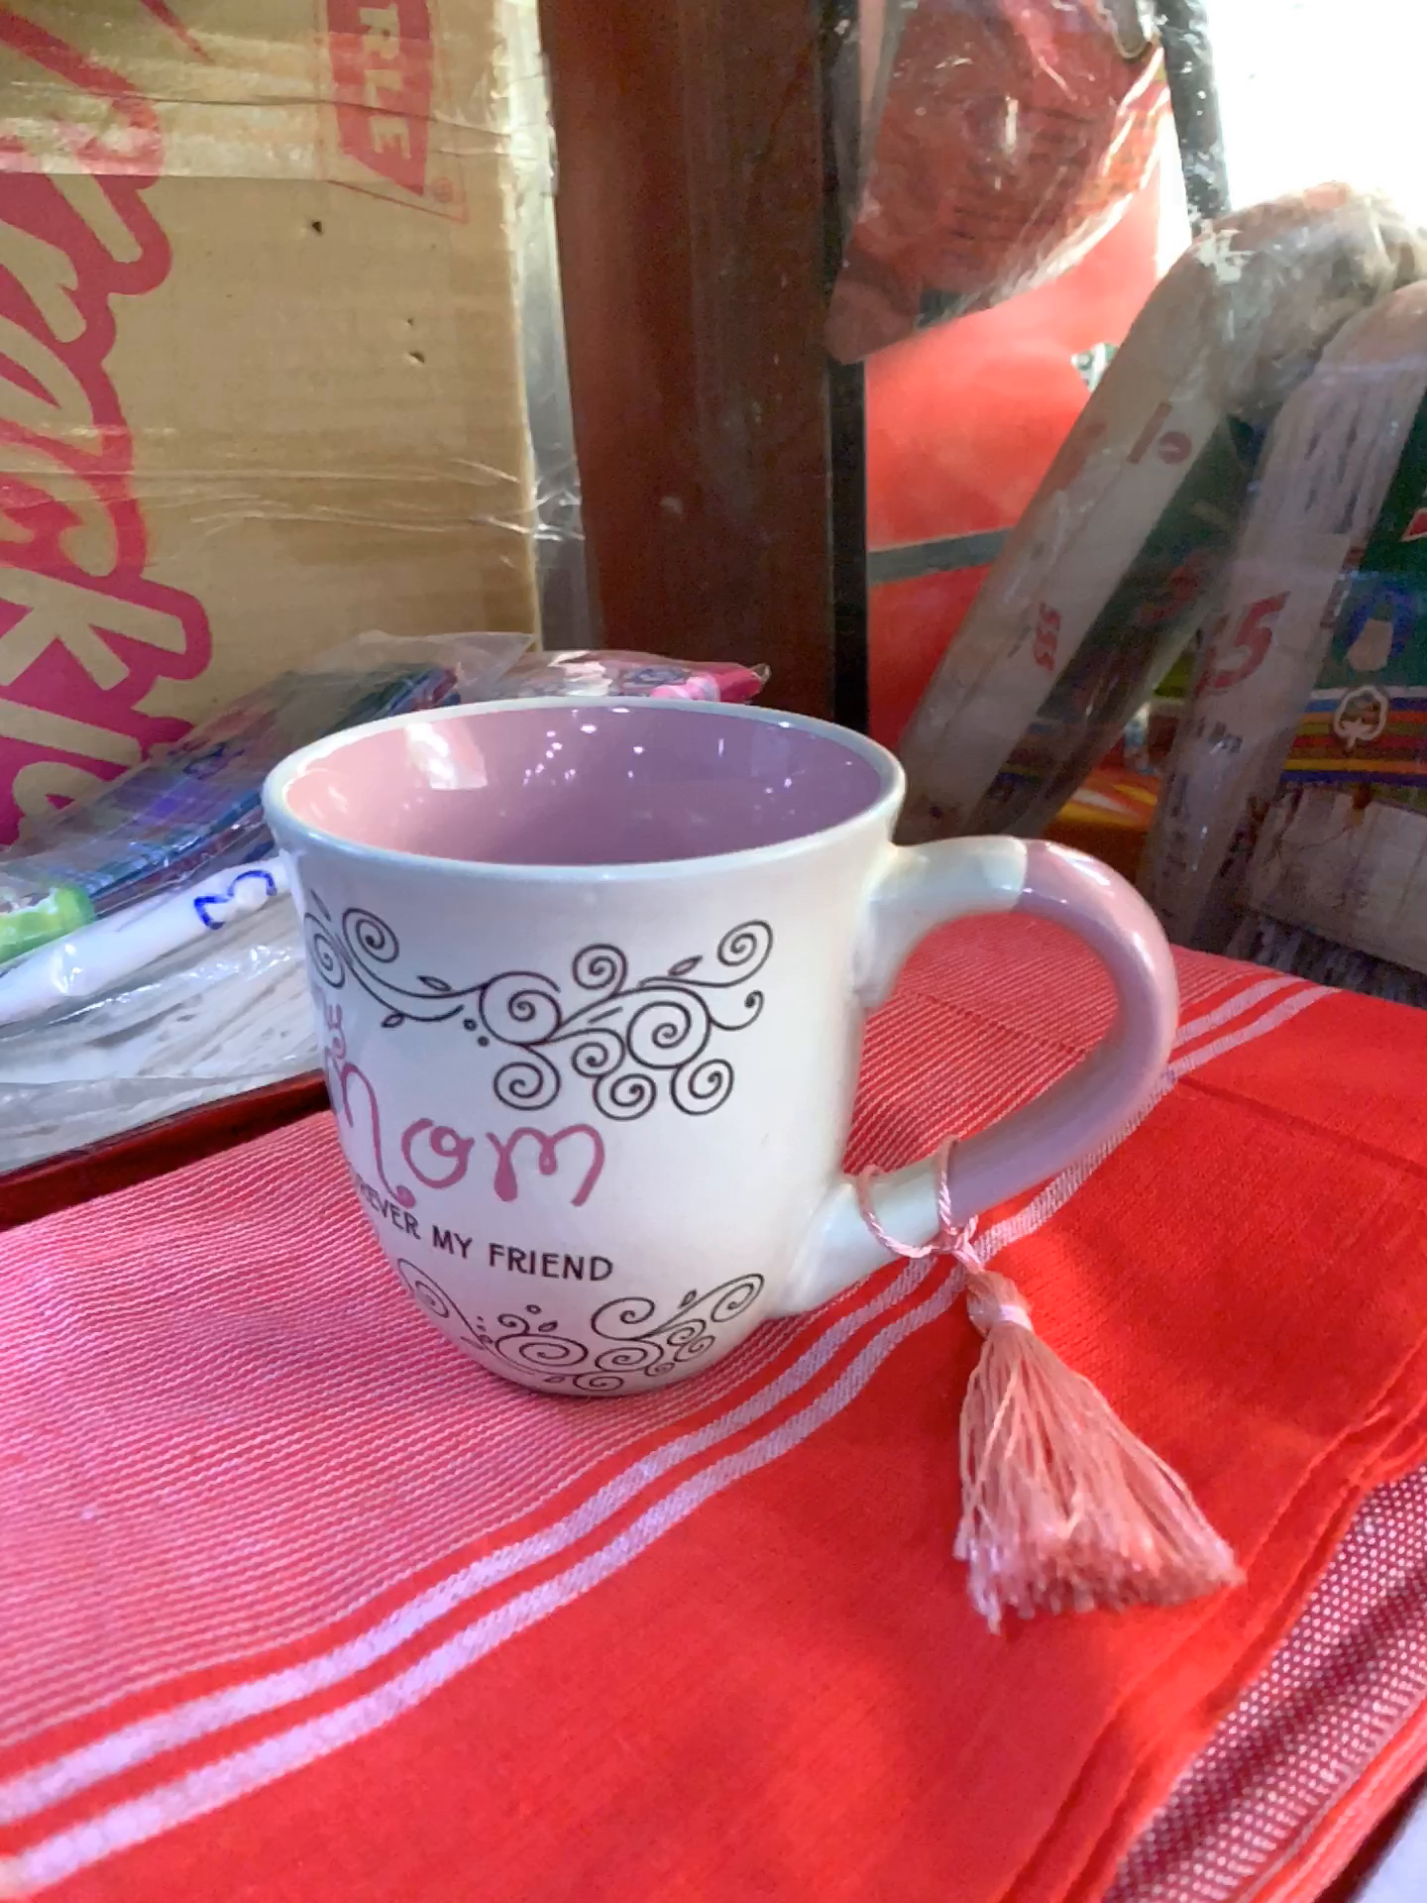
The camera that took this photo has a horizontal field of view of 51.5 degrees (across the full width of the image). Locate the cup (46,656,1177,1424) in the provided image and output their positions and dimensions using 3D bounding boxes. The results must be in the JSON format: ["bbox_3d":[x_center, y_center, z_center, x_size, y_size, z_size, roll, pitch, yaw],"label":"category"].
[{"bbox_3d":[-0.007,0.006,0.214,0.125,0.075,0.086,0,23,8],"label":"cup"}]
